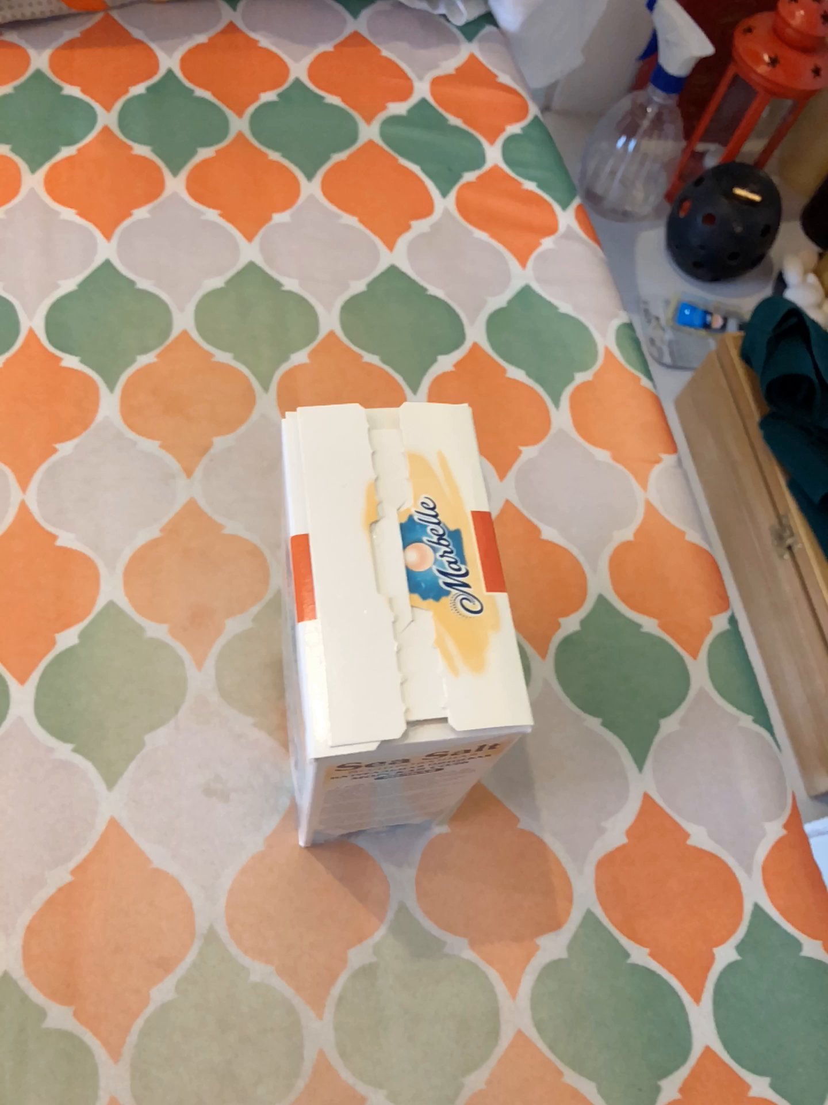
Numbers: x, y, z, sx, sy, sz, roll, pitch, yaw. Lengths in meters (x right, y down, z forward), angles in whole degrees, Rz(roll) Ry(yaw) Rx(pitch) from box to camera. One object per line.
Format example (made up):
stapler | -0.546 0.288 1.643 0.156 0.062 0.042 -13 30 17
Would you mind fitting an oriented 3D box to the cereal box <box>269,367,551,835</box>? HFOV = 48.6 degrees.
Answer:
cereal box | -0.014 0.030 0.312 0.060 0.169 0.100 -4 66 -10
